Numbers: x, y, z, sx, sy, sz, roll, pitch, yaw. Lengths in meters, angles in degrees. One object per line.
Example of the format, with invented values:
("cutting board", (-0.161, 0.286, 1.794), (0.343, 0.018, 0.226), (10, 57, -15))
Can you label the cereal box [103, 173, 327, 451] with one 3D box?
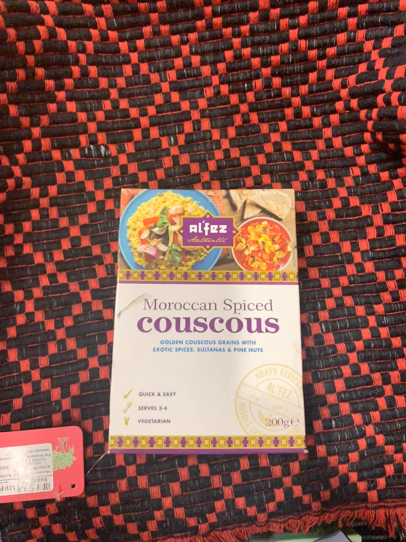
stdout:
("cereal box", (0.007, 0.023, 0.267), (0.120, 0.050, 0.160), (1, 77, 0))
